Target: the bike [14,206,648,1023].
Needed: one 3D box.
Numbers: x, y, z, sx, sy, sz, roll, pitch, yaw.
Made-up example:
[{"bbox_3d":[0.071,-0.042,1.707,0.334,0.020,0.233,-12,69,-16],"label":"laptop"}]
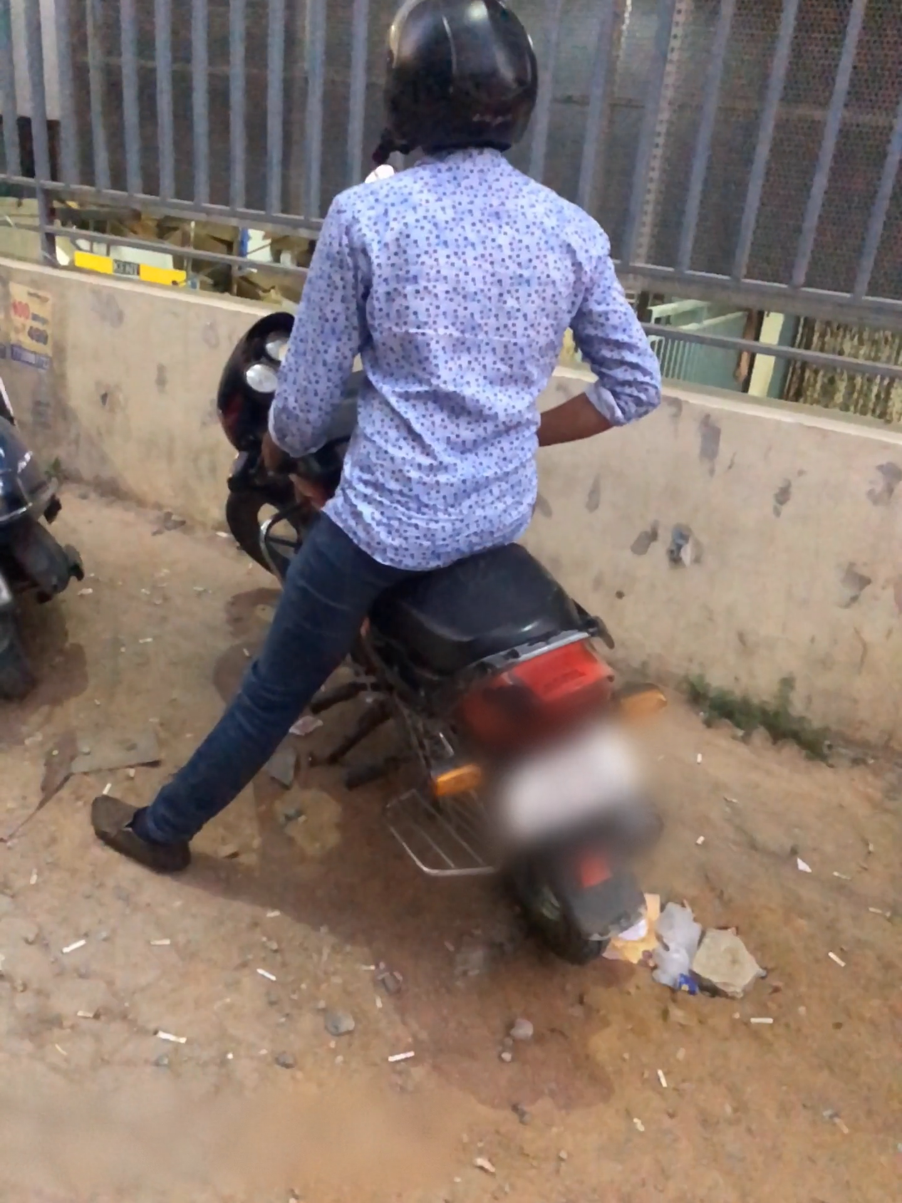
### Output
[{"bbox_3d":[-0.418,-0.152,2.026,0.425,0.830,1.657,-10,35,-33],"label":"bike"}]
